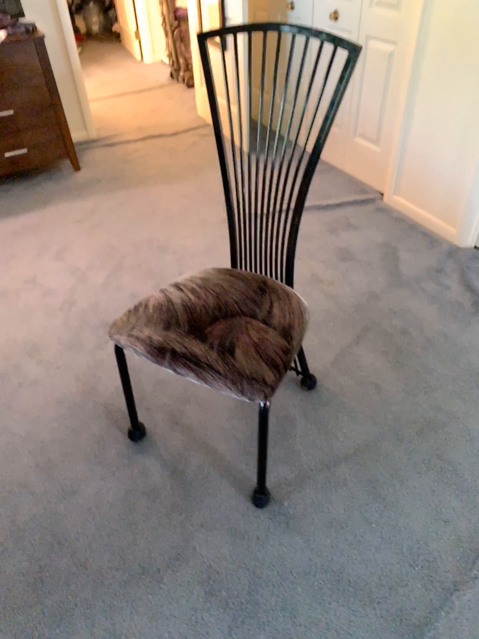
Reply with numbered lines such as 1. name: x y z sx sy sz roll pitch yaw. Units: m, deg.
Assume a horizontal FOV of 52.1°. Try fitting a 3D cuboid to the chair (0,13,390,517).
1. chair: -0.043 -0.111 1.182 0.511 0.974 0.542 18 45 22
